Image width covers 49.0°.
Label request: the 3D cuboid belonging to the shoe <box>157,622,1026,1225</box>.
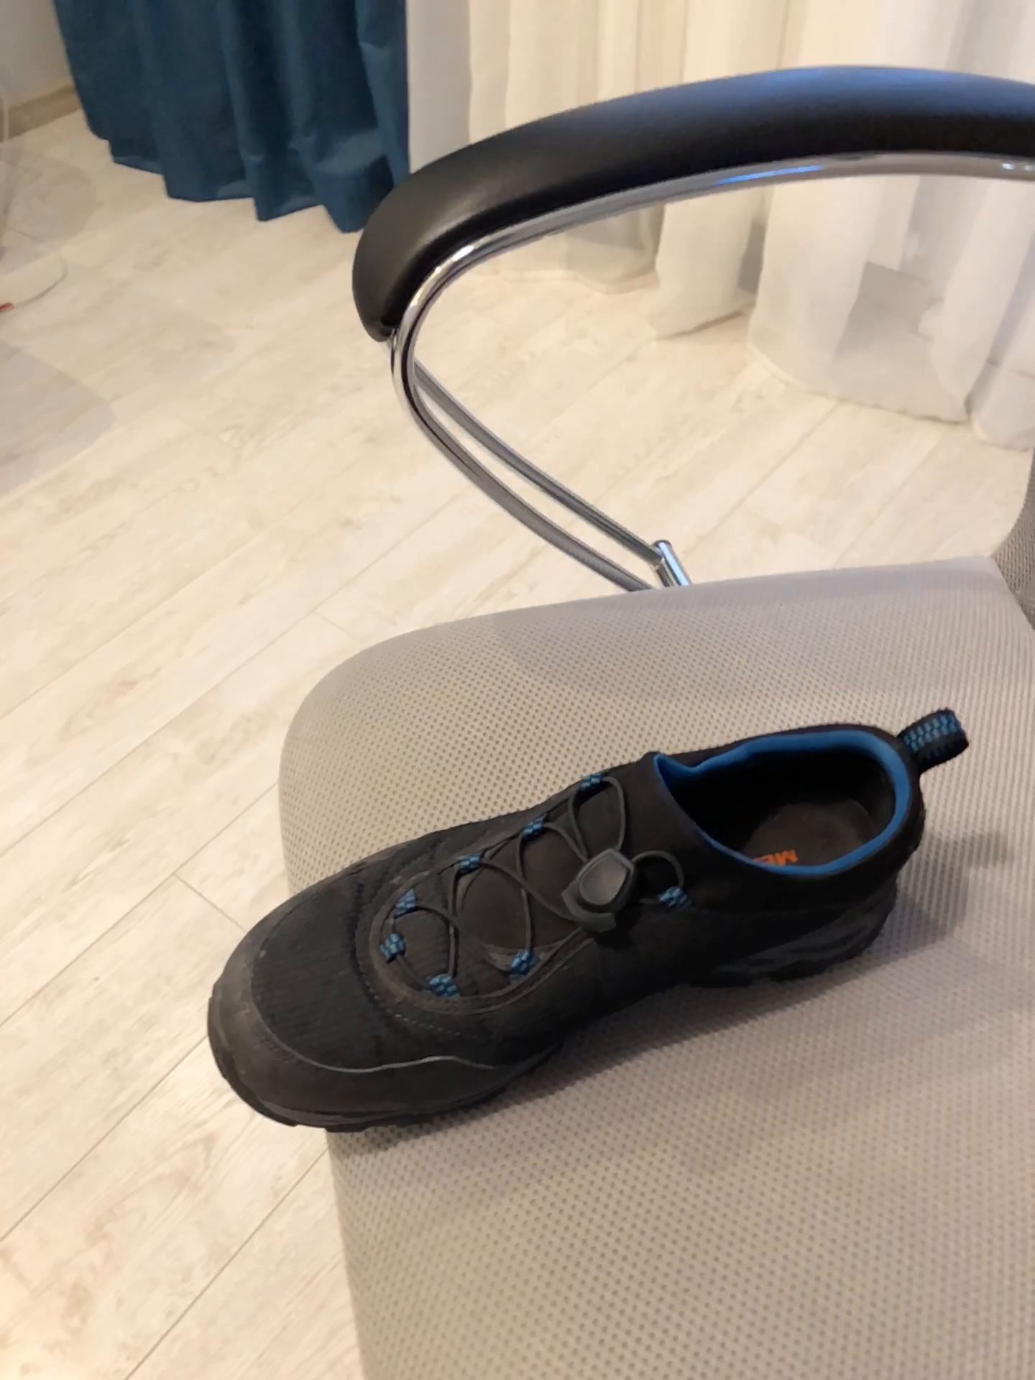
[{"bbox_3d":[0.024,0.088,0.467,0.300,0.109,0.129,-14,49,-12],"label":"shoe"}]
